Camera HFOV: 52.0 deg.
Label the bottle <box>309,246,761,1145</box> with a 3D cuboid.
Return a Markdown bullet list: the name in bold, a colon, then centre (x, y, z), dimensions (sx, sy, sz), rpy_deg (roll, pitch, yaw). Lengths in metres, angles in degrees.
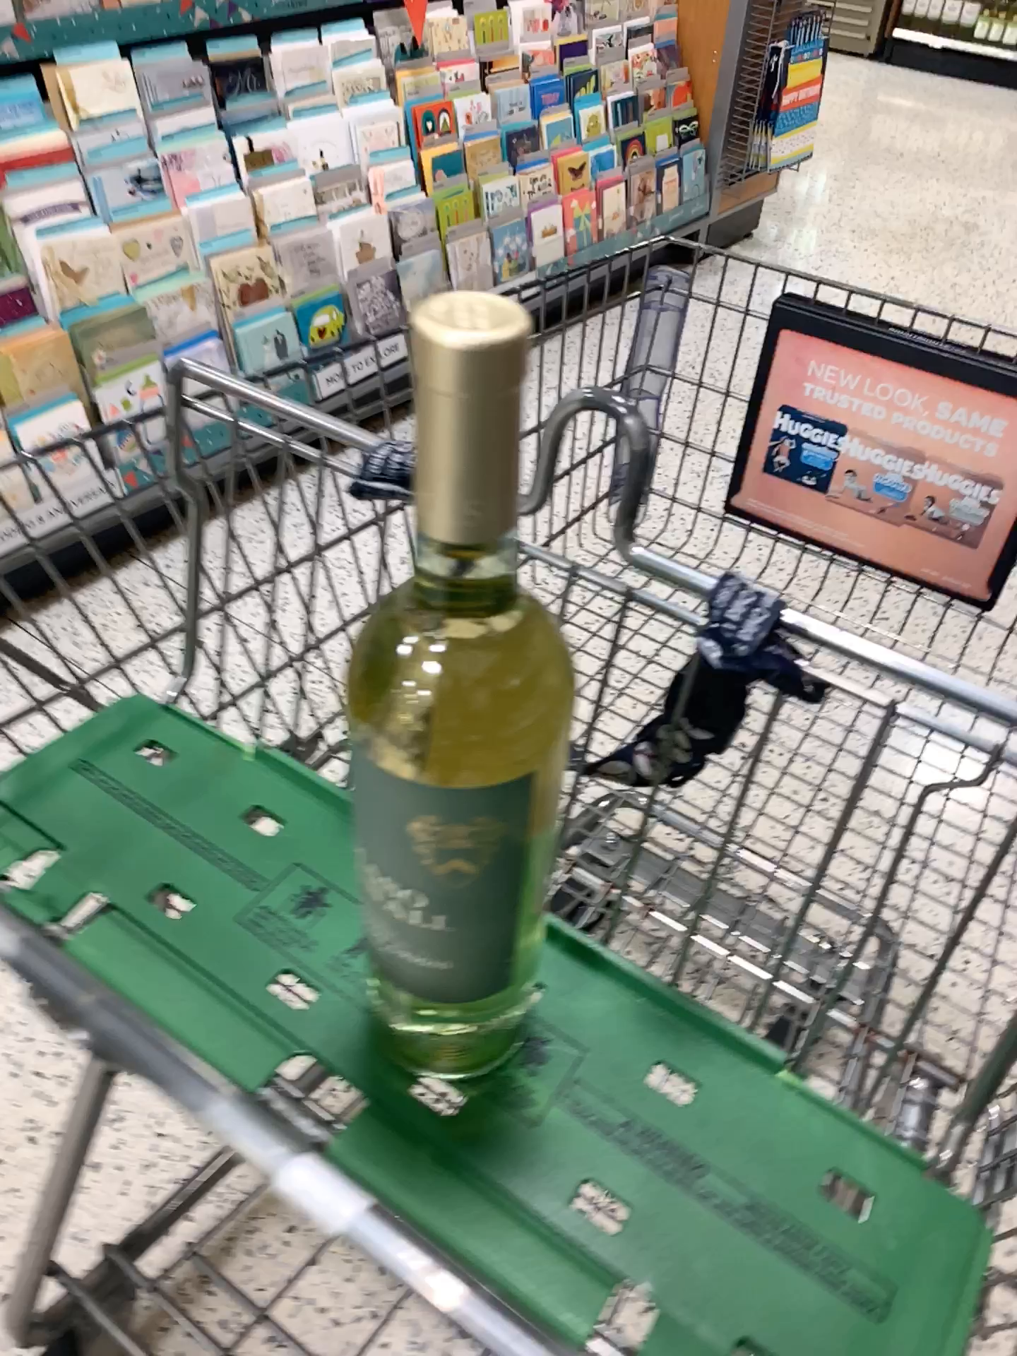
- **bottle**: centre (-0.001, 0.034, 0.384), dimensions (0.080, 0.336, 0.091), rpy_deg (32, 48, 28)
